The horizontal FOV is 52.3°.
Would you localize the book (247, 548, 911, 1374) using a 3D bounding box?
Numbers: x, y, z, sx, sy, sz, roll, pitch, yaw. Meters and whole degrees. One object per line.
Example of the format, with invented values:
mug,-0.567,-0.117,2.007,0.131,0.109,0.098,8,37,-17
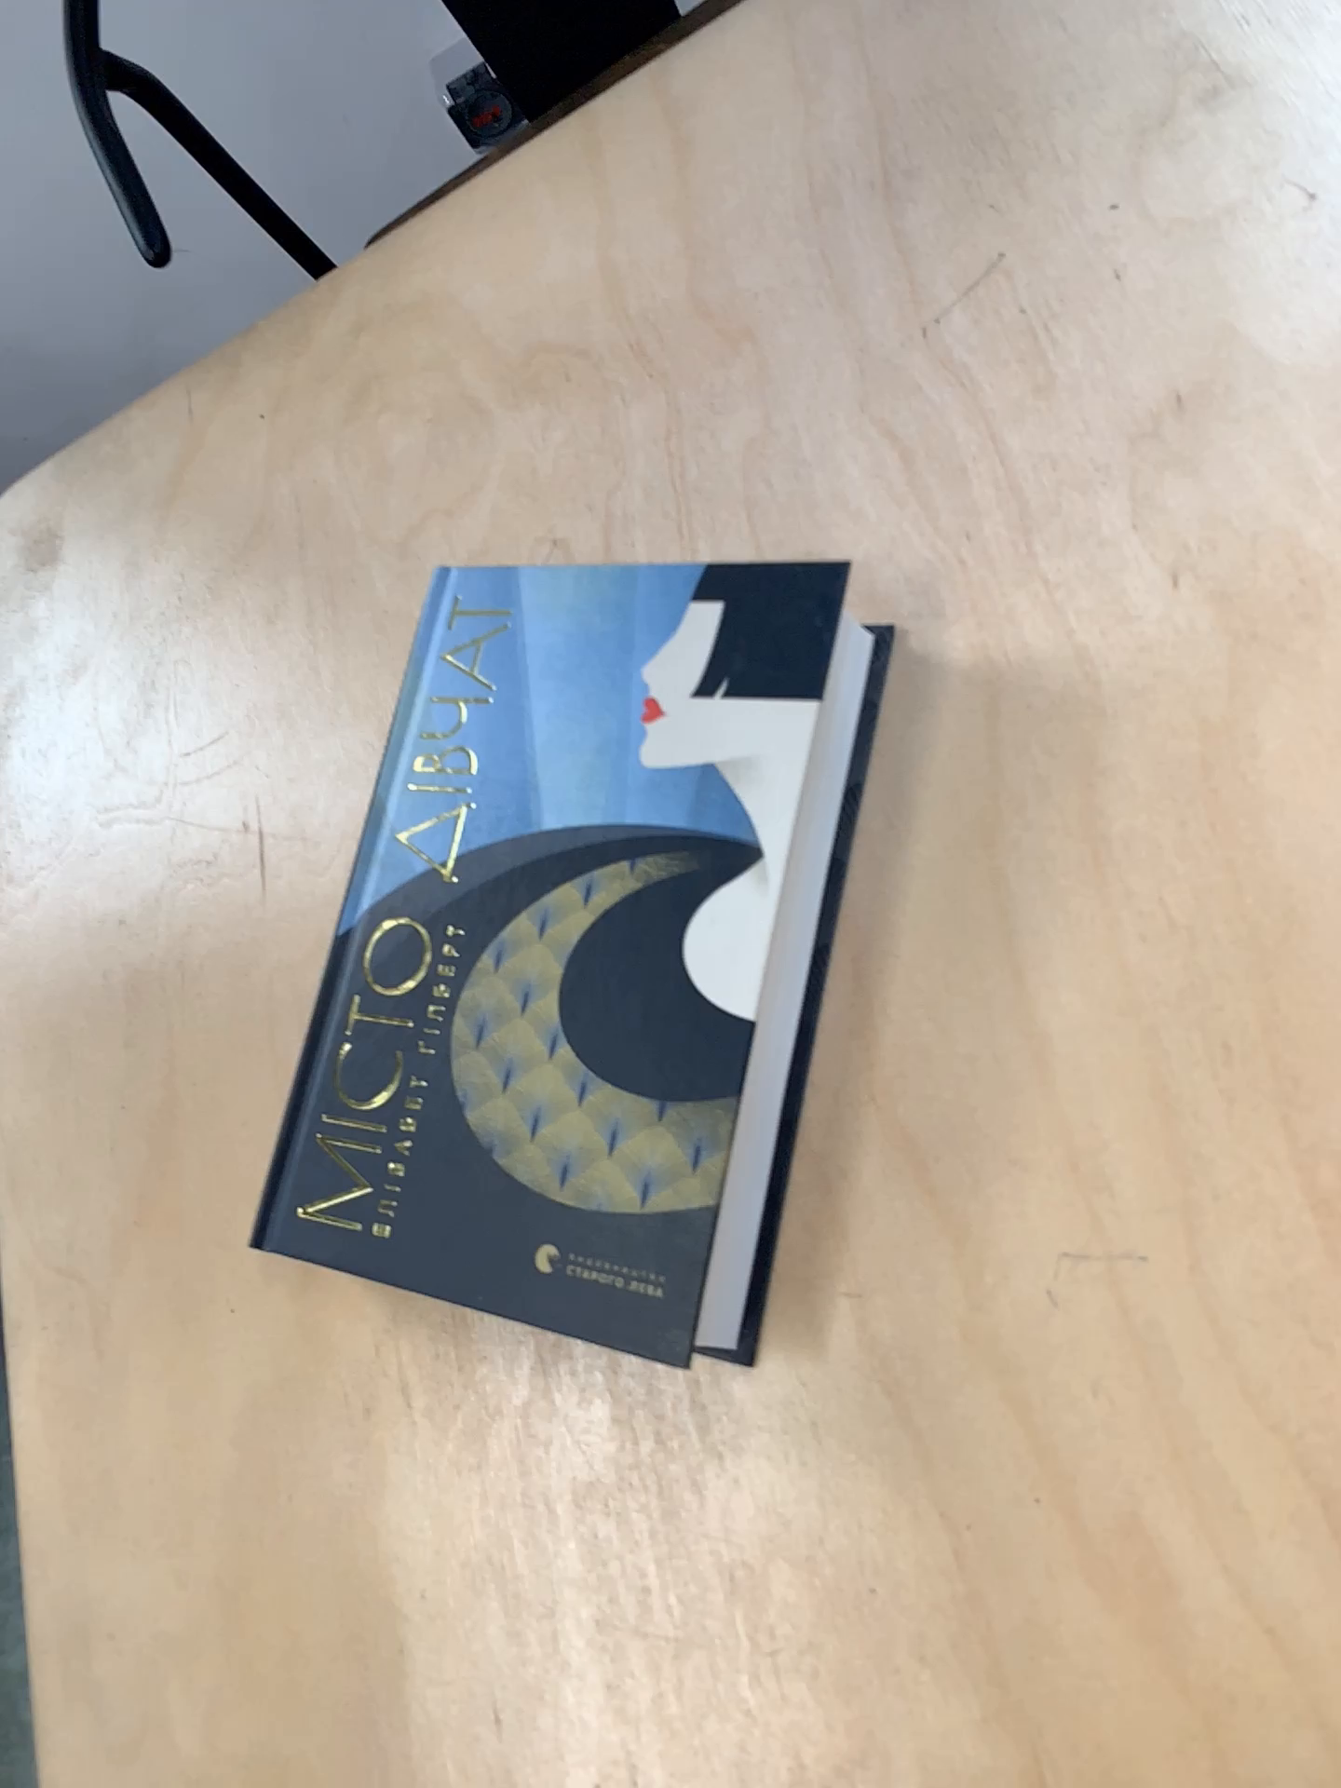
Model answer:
book,-0.024,0.009,0.367,0.135,0.043,0.197,6,78,29
